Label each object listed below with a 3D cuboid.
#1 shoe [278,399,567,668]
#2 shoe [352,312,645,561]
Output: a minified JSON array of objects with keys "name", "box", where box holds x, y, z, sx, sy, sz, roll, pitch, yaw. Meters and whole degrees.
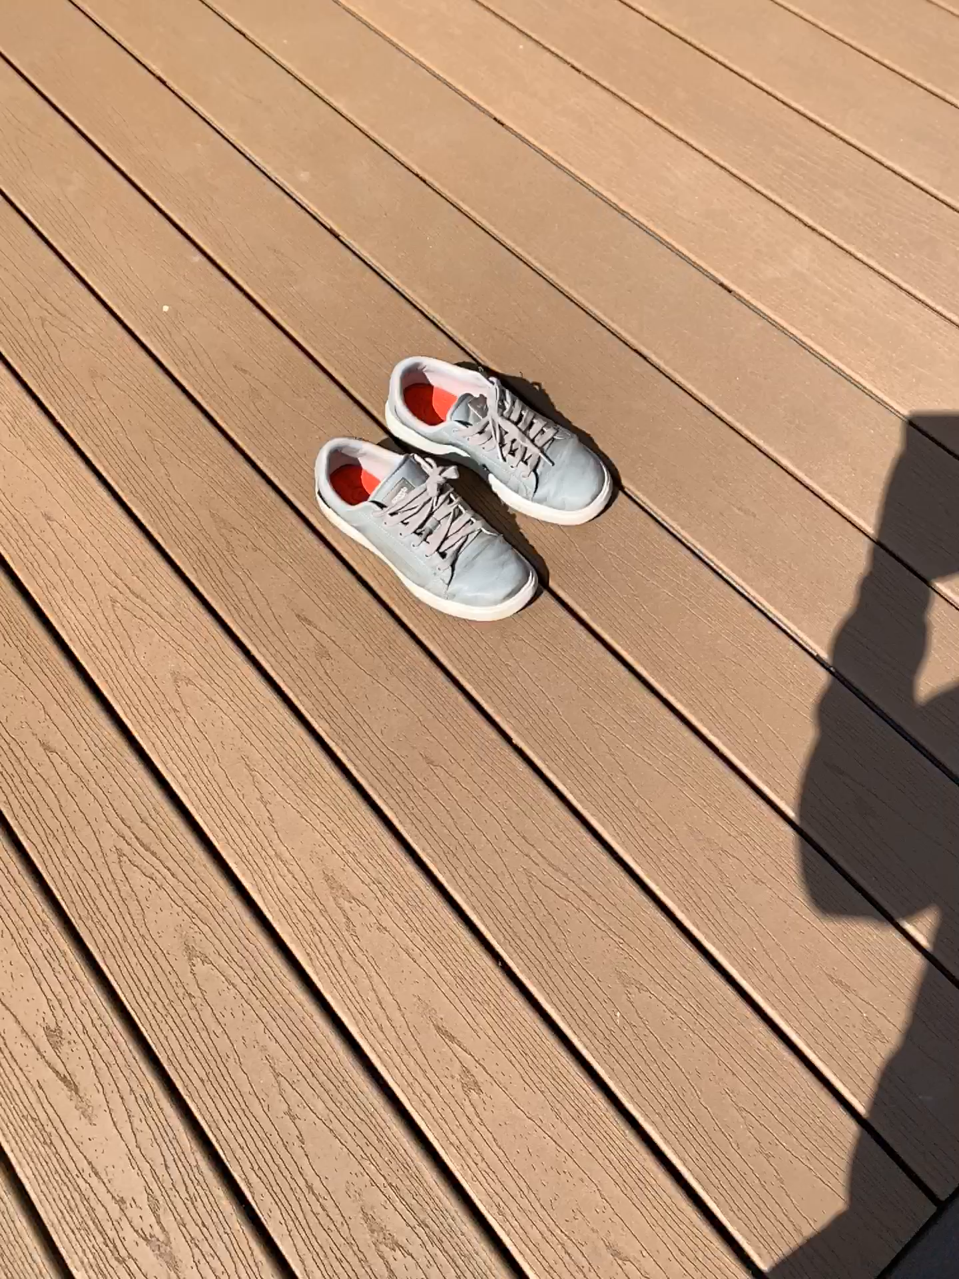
[{"name":"shoe","box":[-0.059,-0.115,1.042,0.291,0.100,0.120,37,74,19]},{"name":"shoe","box":[0.020,-0.223,1.068,0.291,0.100,0.120,32,72,18]}]
